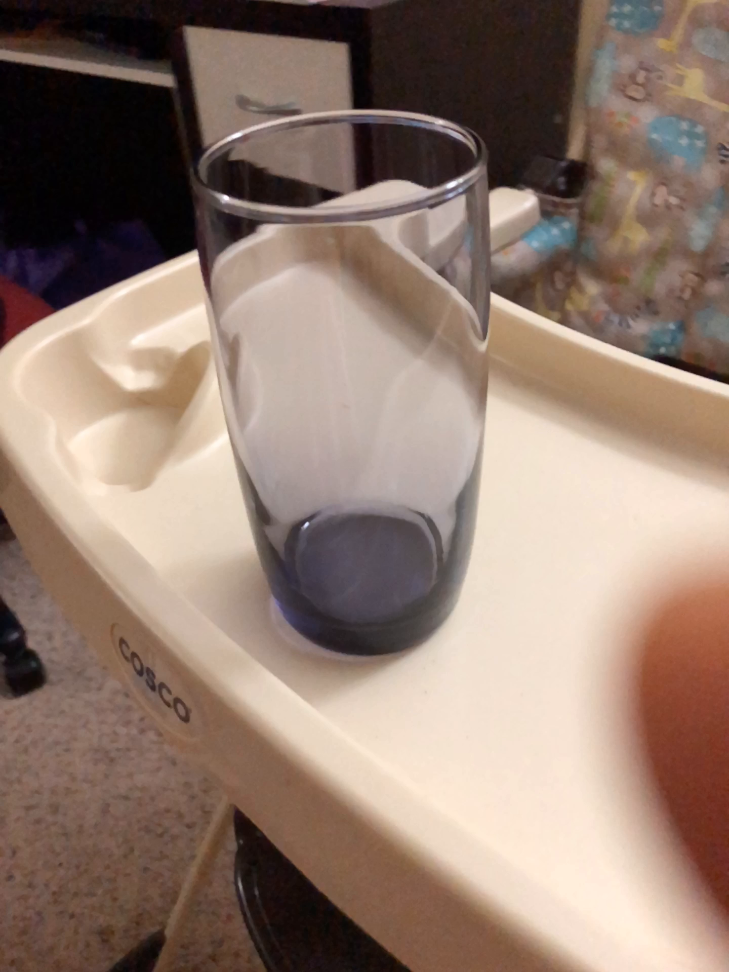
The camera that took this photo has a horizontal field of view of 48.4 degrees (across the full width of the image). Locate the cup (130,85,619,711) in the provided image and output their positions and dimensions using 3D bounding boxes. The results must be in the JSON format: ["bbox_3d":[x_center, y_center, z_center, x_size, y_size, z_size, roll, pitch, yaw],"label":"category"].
[{"bbox_3d":[0.001,-0.024,0.229,0.084,0.134,0.084,-3,40,2],"label":"cup"}]
